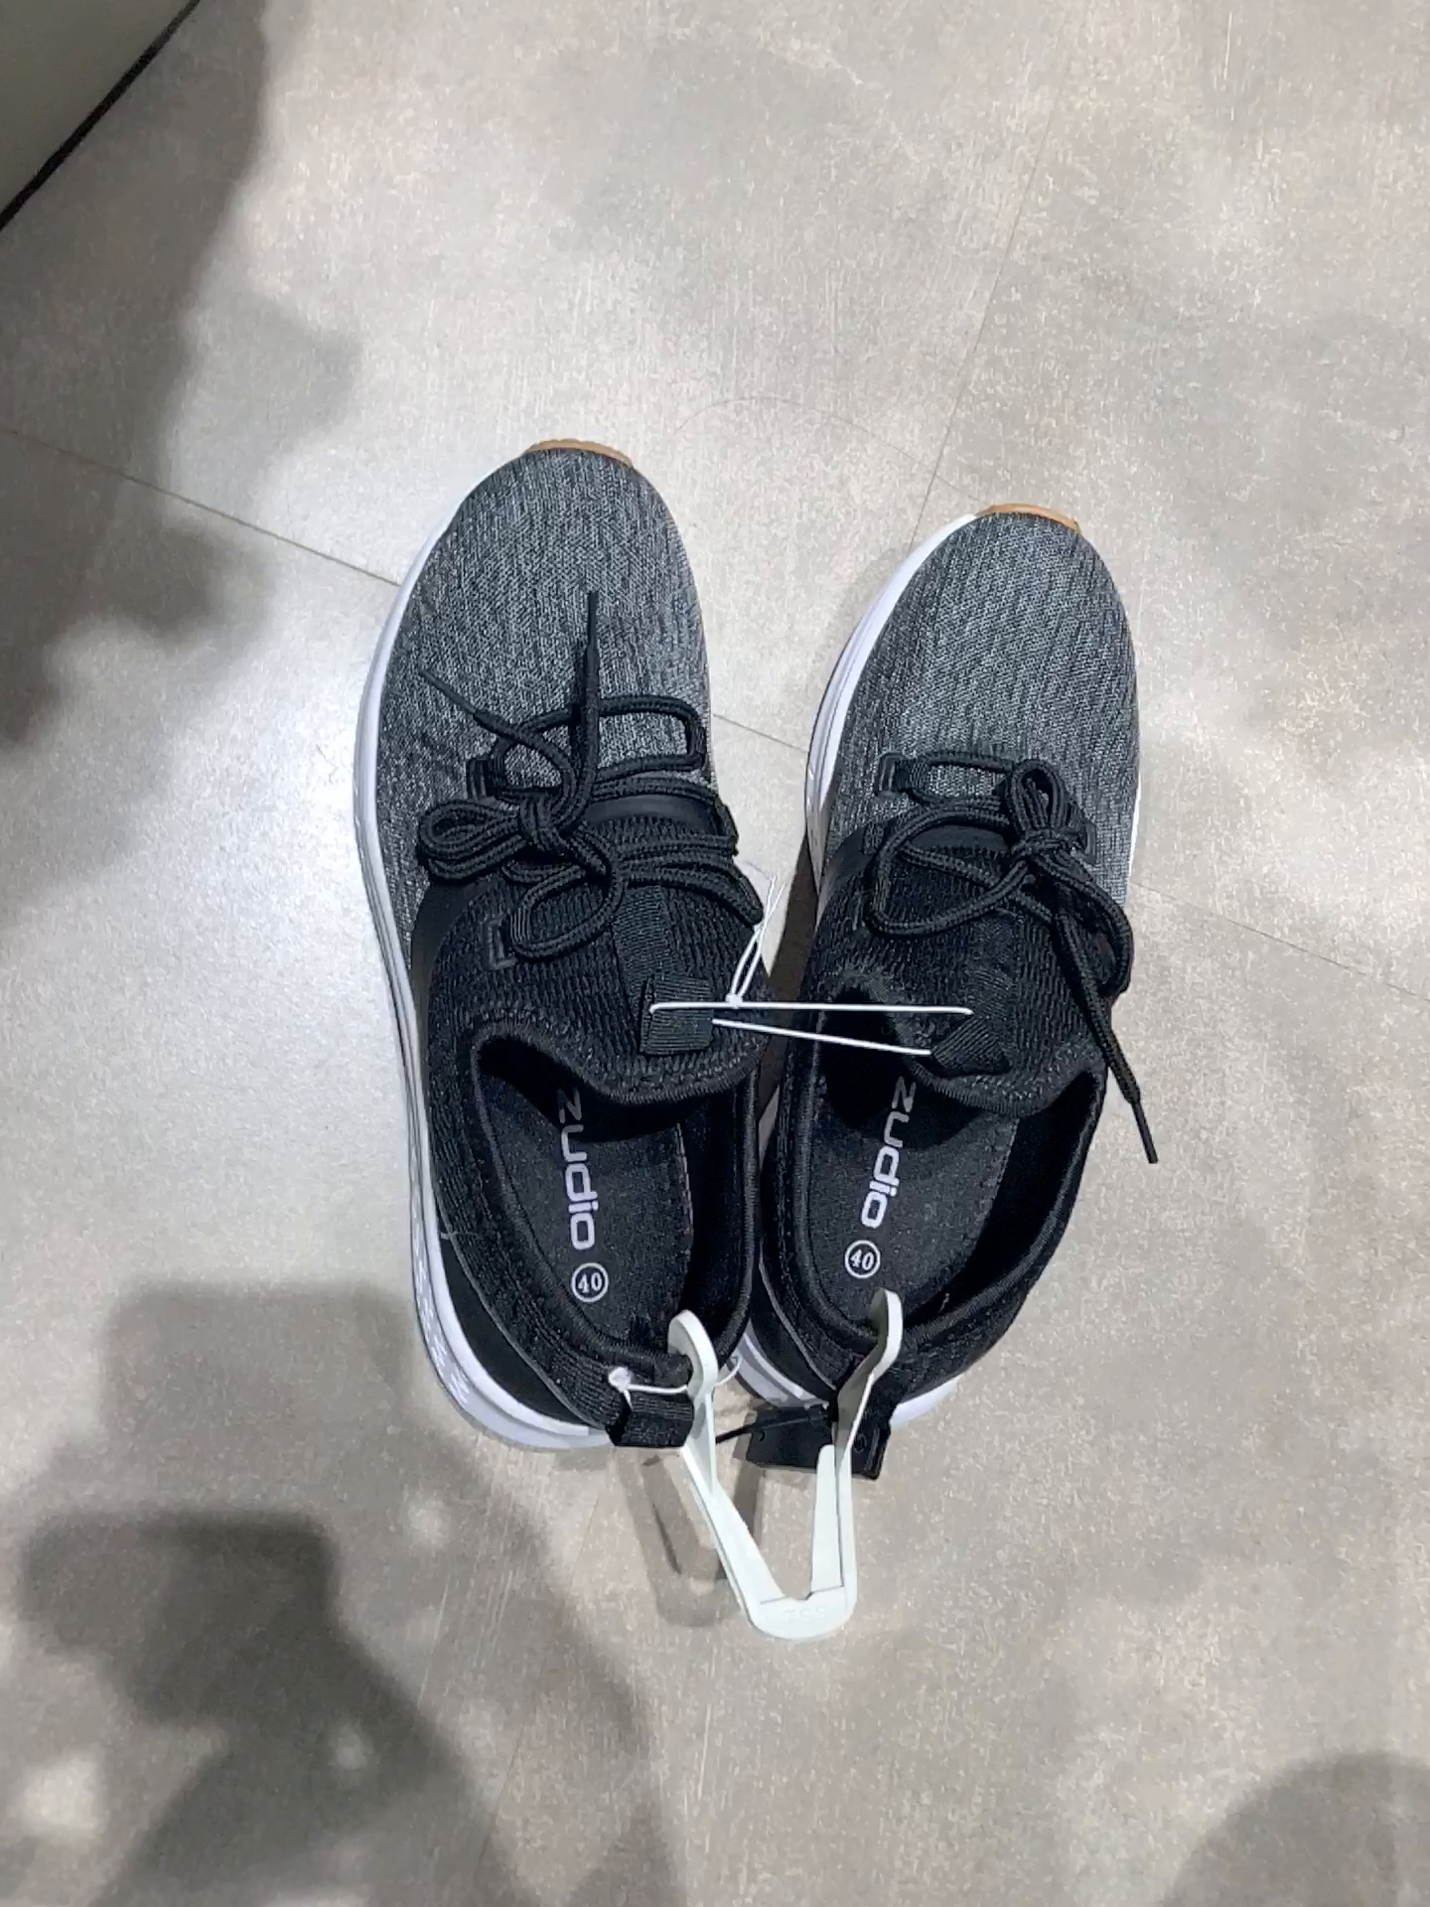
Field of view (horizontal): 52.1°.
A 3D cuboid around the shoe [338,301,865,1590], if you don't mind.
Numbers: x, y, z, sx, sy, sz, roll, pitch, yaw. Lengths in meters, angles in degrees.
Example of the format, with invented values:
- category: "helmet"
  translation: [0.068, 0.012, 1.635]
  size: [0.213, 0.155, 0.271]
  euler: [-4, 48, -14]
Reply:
- category: "shoe"
  translation: [-0.036, -0.004, 0.373]
  size: [0.106, 0.096, 0.278]
  euler: [-2, 85, -13]

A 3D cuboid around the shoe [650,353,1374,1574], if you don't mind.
- category: "shoe"
  translation: [0.077, 0.003, 0.401]
  size: [0.107, 0.096, 0.278]
  euler: [16, 82, -11]
